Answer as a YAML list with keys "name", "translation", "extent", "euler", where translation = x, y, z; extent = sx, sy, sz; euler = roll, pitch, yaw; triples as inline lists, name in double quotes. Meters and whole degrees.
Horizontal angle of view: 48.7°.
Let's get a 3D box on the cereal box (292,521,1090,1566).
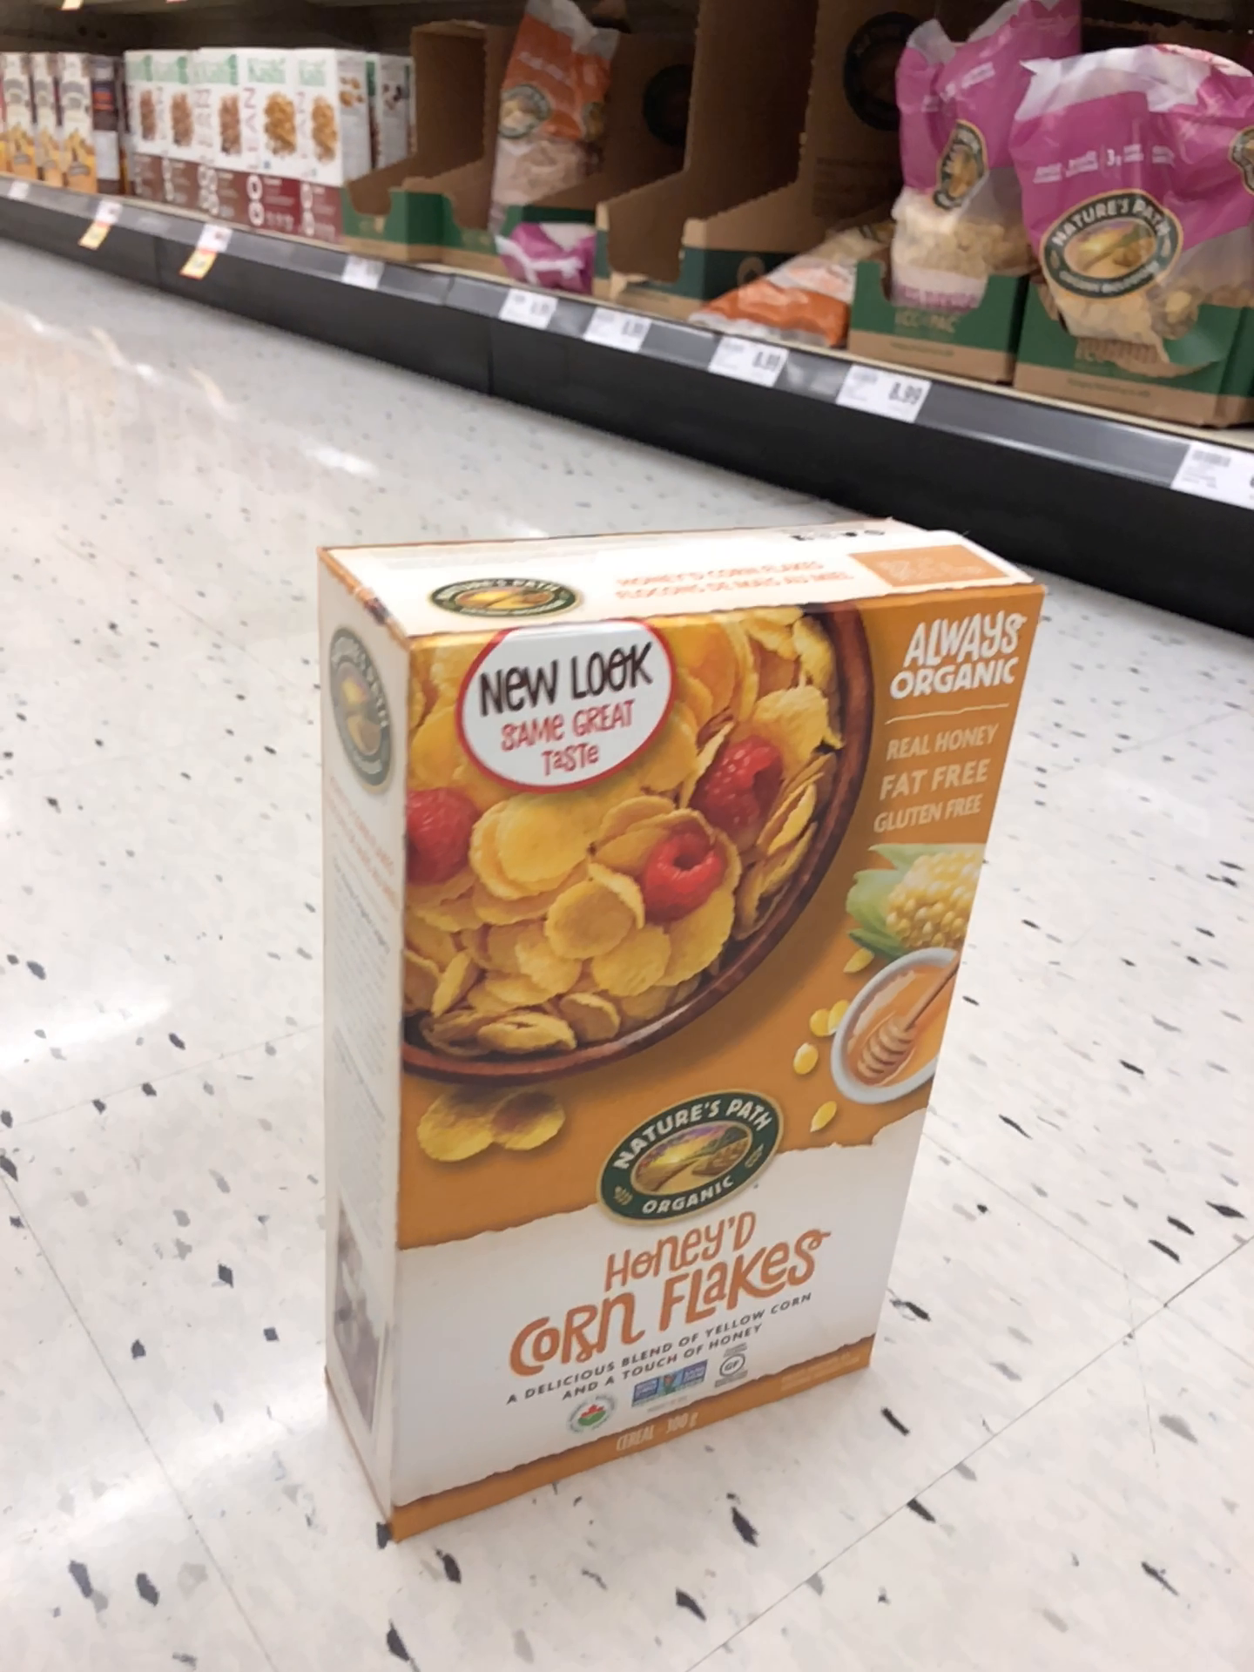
- name: "cereal box"
  translation: [0.007, 0.051, 0.347]
  extent: [0.160, 0.239, 0.060]
  euler: [-8, 30, -25]
